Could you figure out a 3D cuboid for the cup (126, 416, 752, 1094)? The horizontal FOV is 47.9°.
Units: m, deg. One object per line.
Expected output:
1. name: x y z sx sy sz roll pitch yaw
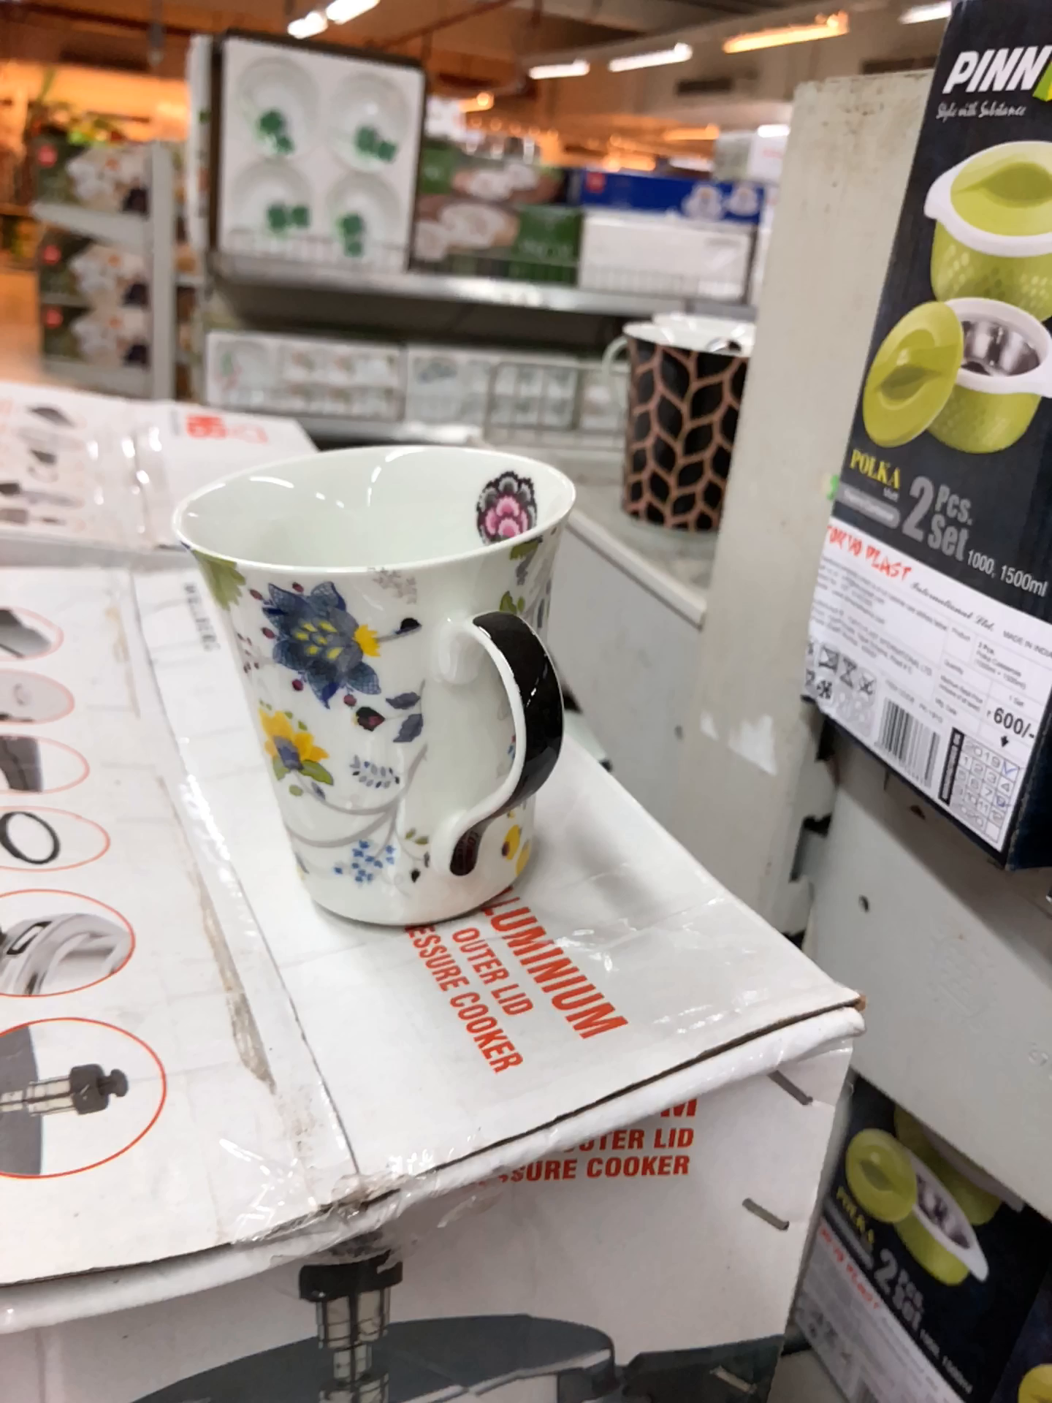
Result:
1. cup: -0.022 0.000 0.266 0.080 0.089 0.120 -21 33 -28
